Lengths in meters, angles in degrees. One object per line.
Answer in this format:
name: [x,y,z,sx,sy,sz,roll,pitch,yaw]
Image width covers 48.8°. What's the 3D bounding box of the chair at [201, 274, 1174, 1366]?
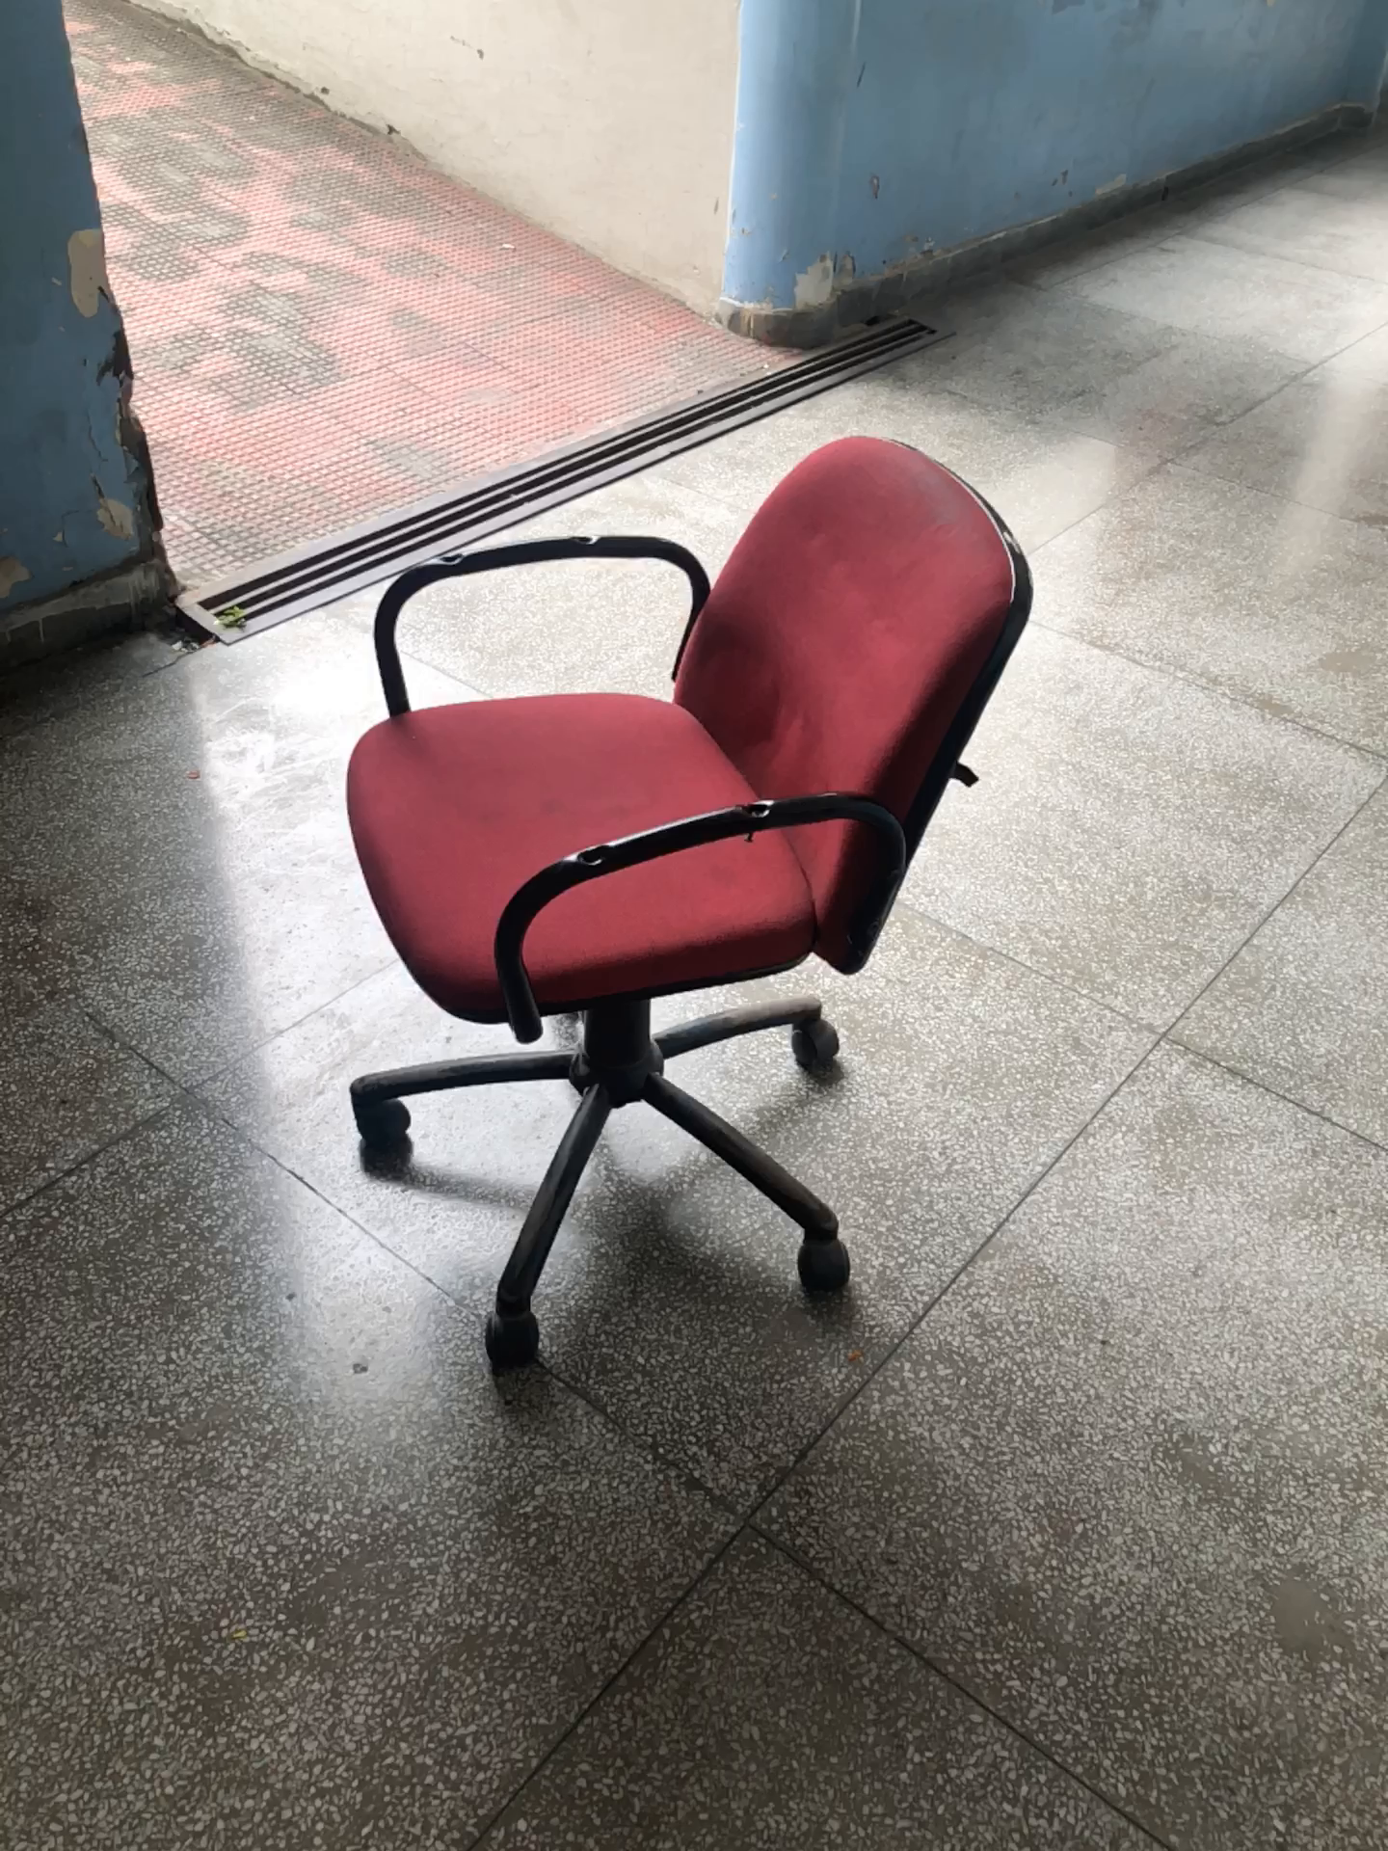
chair: [-0.059,-0.143,1.599,0.640,0.797,0.652,-15,42,-22]
